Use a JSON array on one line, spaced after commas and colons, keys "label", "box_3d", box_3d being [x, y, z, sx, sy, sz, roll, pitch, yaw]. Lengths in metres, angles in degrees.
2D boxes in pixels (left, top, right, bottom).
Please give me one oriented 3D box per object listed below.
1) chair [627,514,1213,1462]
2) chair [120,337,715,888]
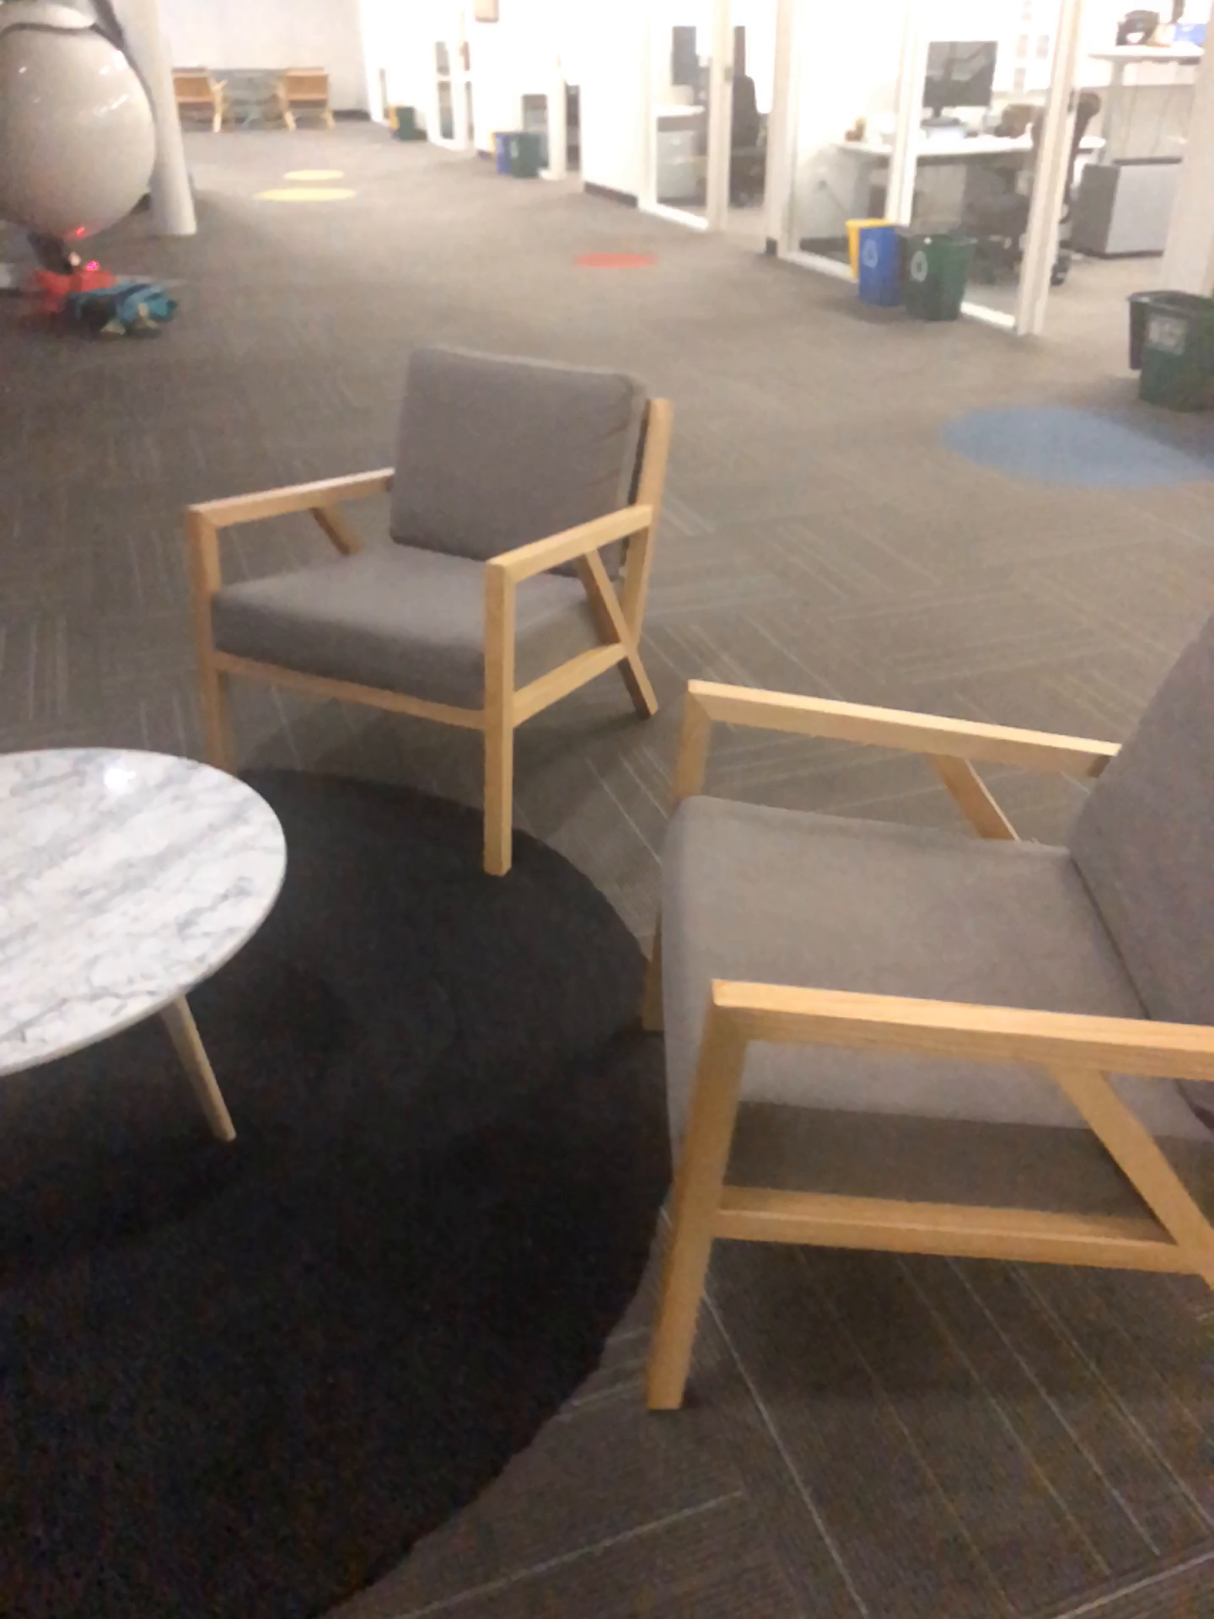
[{"label": "chair", "box_3d": [0.446, 0.170, 1.563, 0.800, 0.773, 0.726, 3, 30, -1]}, {"label": "chair", "box_3d": [-0.310, -0.453, 2.612, 0.720, 0.754, 0.877, 13, 28, 22]}]
